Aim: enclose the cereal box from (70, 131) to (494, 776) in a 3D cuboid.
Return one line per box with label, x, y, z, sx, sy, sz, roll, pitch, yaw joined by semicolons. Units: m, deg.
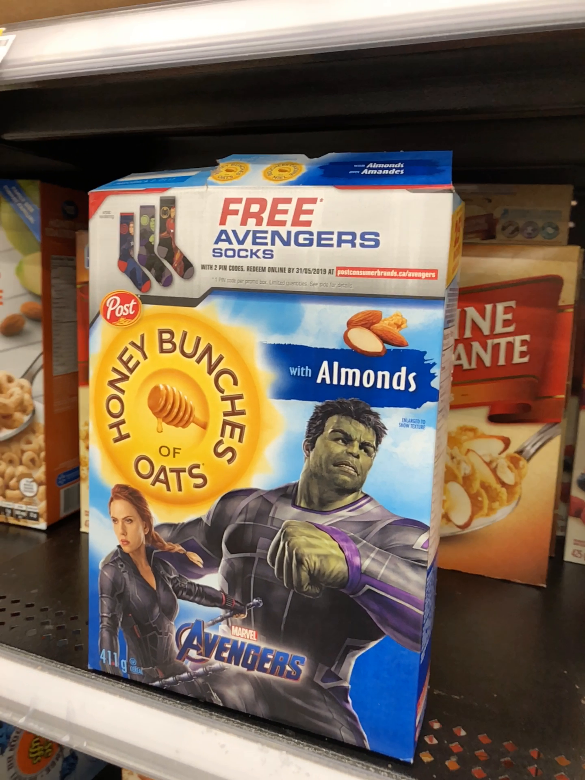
cereal box;-0.011;0.024;0.349;0.200;0.289;0.070;6;11;21
